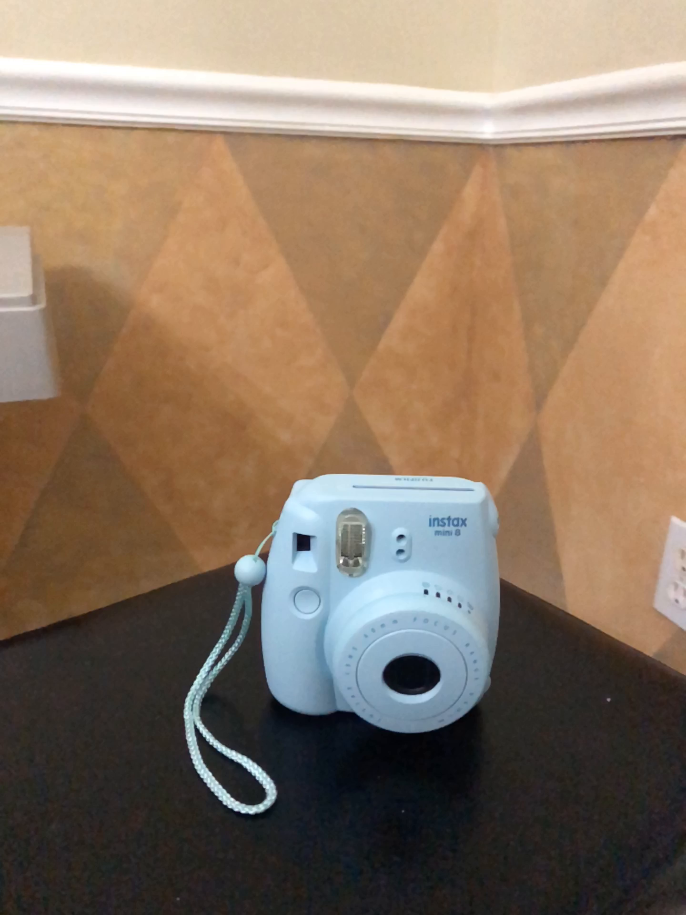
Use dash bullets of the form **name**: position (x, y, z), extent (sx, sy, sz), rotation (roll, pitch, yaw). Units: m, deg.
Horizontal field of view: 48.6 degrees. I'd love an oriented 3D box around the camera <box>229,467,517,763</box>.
- **camera**: position (0.011, 0.074, 0.368), extent (0.120, 0.118, 0.068), rotation (2, 20, 0)
